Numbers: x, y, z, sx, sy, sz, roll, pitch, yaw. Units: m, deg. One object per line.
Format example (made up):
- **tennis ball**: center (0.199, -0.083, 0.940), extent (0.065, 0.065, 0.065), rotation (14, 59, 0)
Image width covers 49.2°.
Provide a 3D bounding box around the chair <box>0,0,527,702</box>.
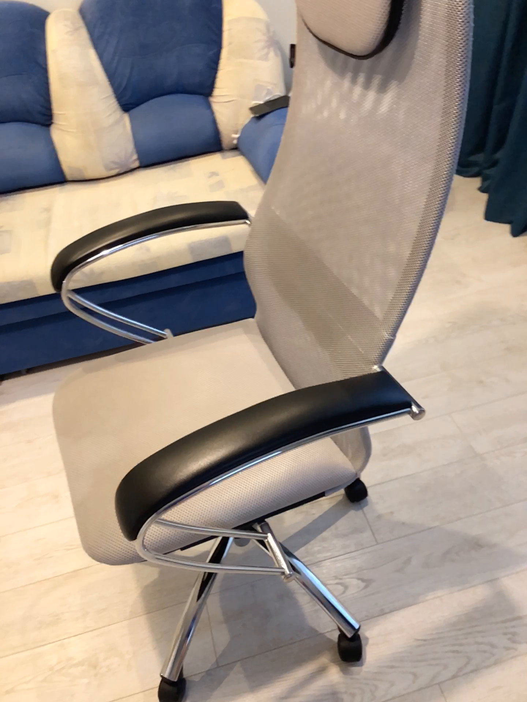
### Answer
- **chair**: center (-0.108, -0.017, 0.933), extent (0.691, 1.152, 0.684), rotation (-16, 42, -9)
